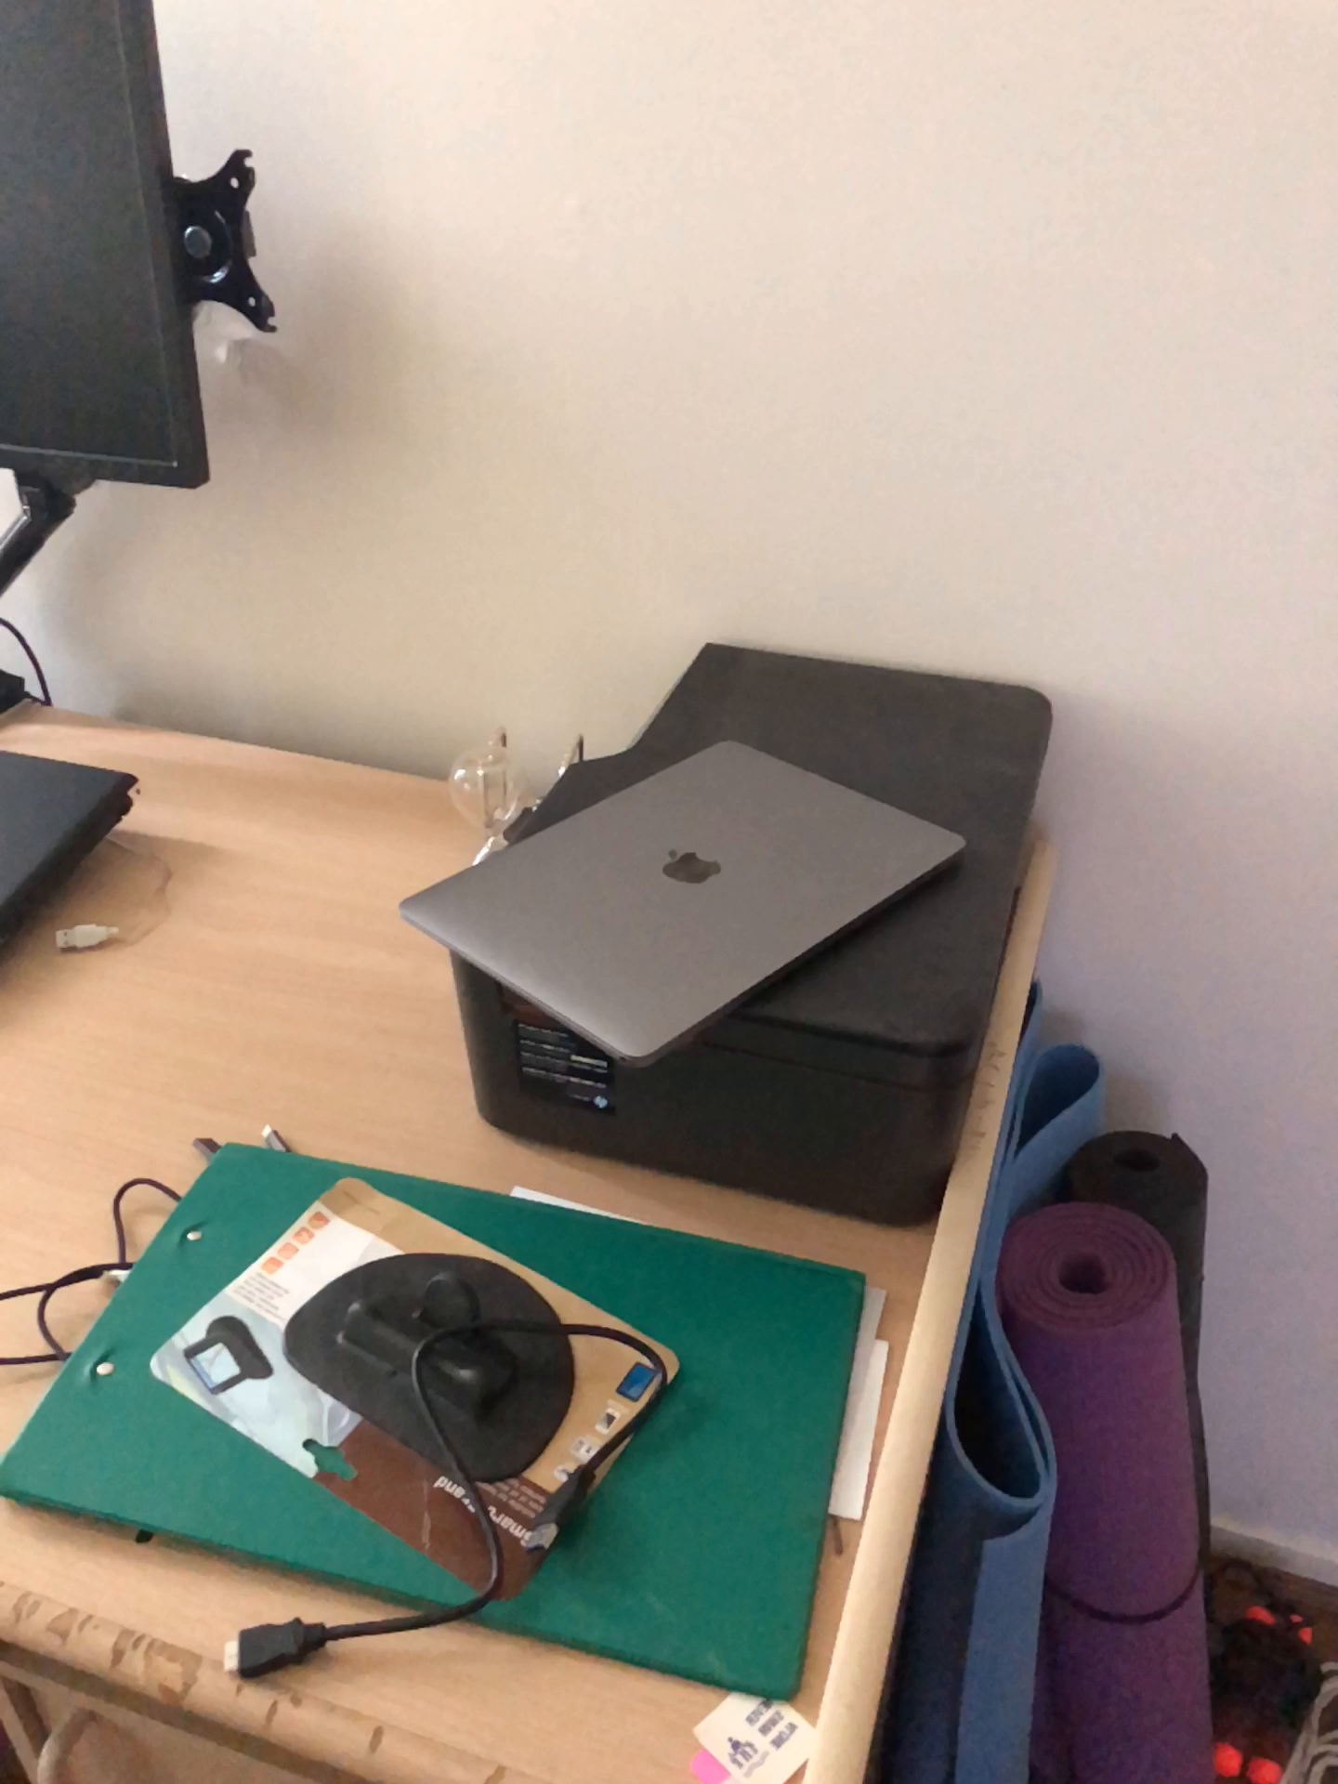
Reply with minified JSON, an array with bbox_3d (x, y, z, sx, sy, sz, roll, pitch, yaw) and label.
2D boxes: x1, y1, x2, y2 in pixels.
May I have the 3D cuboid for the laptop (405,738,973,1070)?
[{"bbox_3d":[0.015,-0.008,0.831,0.266,0.007,0.189,-30,42,-35],"label":"laptop"}]
